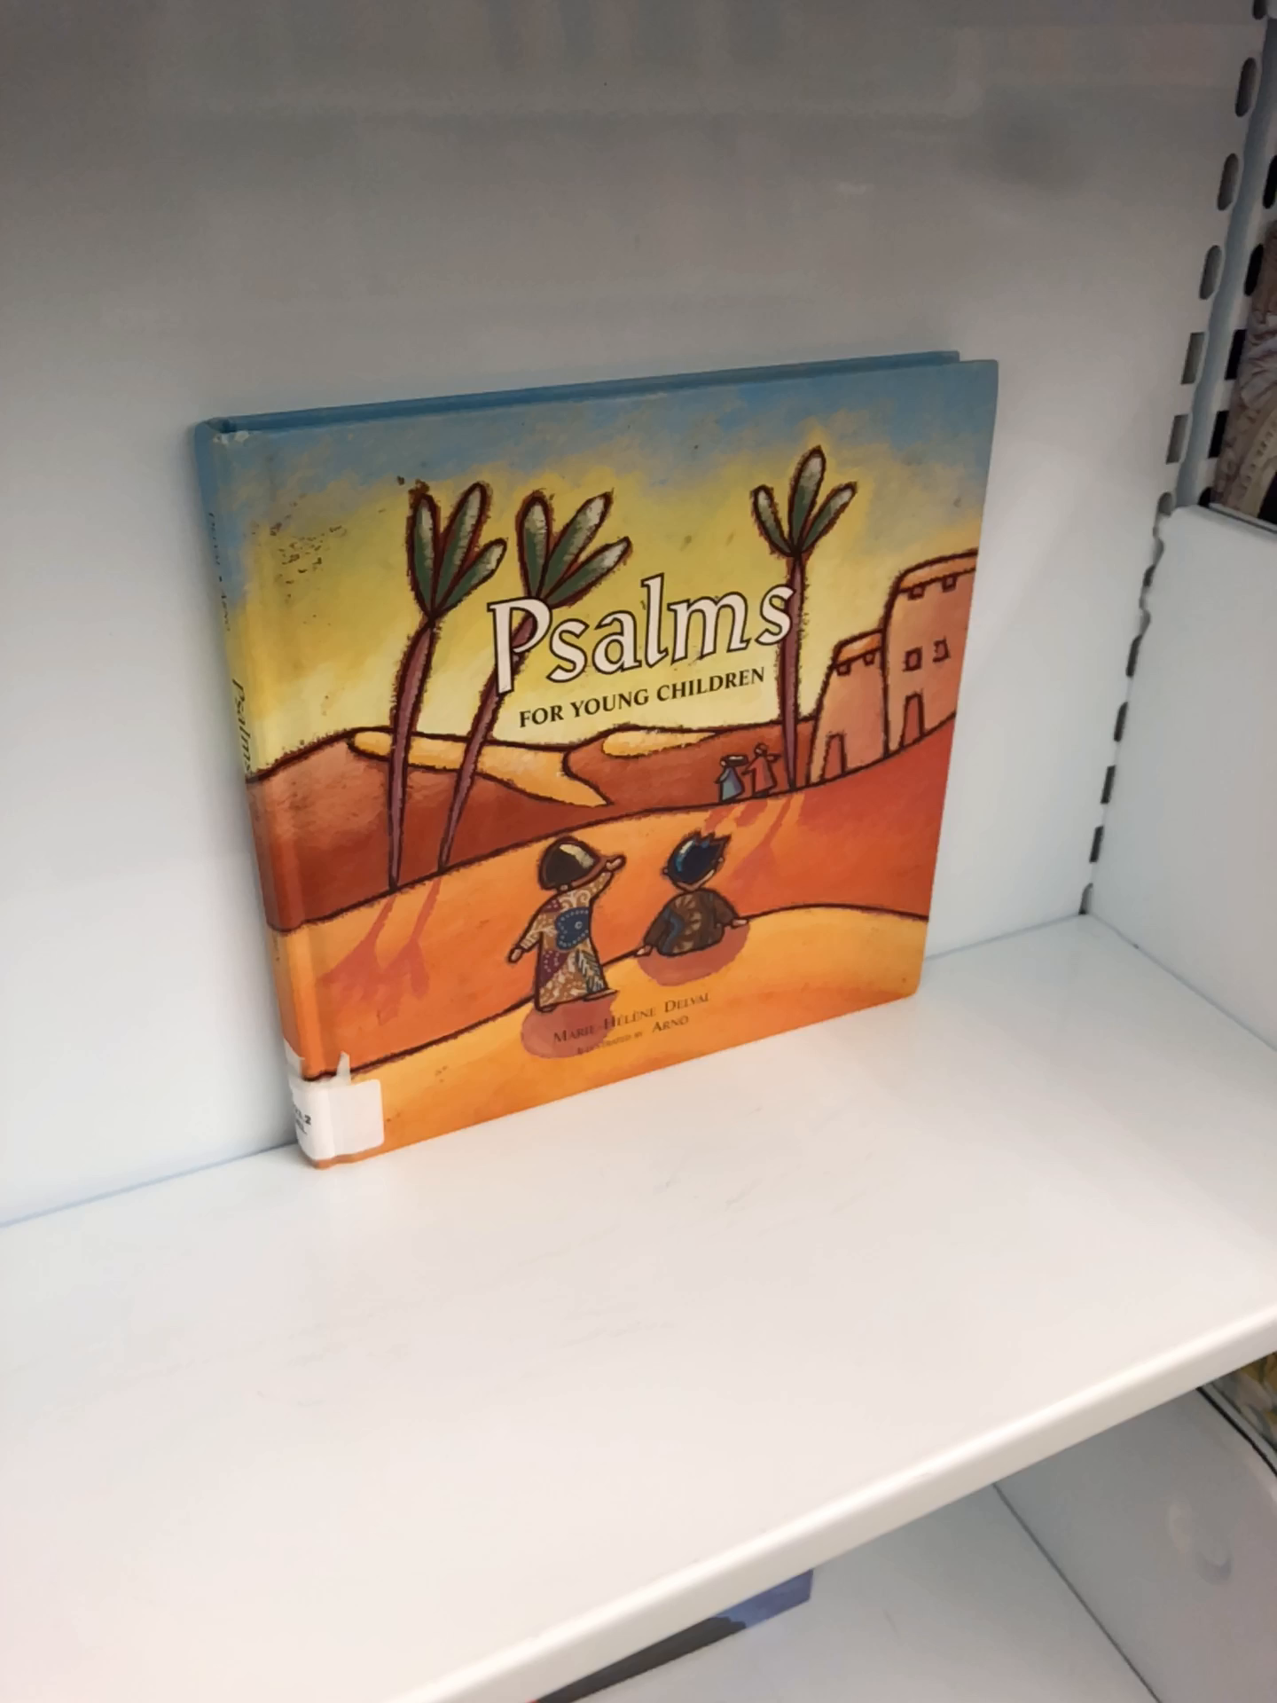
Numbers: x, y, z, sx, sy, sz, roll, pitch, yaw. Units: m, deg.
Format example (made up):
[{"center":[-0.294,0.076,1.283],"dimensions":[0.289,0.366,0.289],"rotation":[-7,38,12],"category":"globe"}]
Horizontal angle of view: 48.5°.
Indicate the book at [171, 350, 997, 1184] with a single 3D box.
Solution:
[{"center":[-0.005,-0.024,0.395],"dimensions":[0.212,0.205,0.021],"rotation":[-13,32,-24],"category":"book"}]
